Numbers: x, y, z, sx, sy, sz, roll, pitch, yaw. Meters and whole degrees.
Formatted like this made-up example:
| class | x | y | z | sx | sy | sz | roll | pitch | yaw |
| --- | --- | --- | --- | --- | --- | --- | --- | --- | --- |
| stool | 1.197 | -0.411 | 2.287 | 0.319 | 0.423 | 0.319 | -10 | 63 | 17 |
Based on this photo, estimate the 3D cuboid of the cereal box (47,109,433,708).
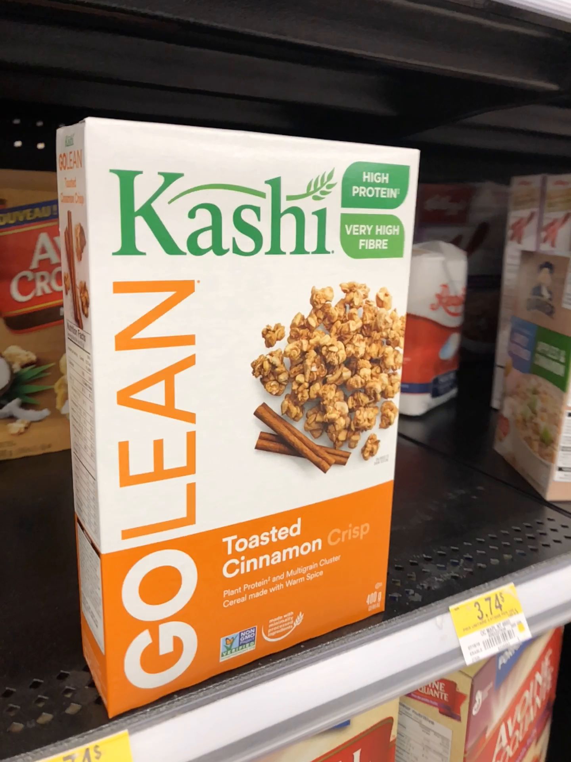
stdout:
| class | x | y | z | sx | sy | sz | roll | pitch | yaw |
| --- | --- | --- | --- | --- | --- | --- | --- | --- | --- |
| cereal box | -0.018 | 0.010 | 0.317 | 0.170 | 0.249 | 0.050 | -7 | 16 | -31 |
